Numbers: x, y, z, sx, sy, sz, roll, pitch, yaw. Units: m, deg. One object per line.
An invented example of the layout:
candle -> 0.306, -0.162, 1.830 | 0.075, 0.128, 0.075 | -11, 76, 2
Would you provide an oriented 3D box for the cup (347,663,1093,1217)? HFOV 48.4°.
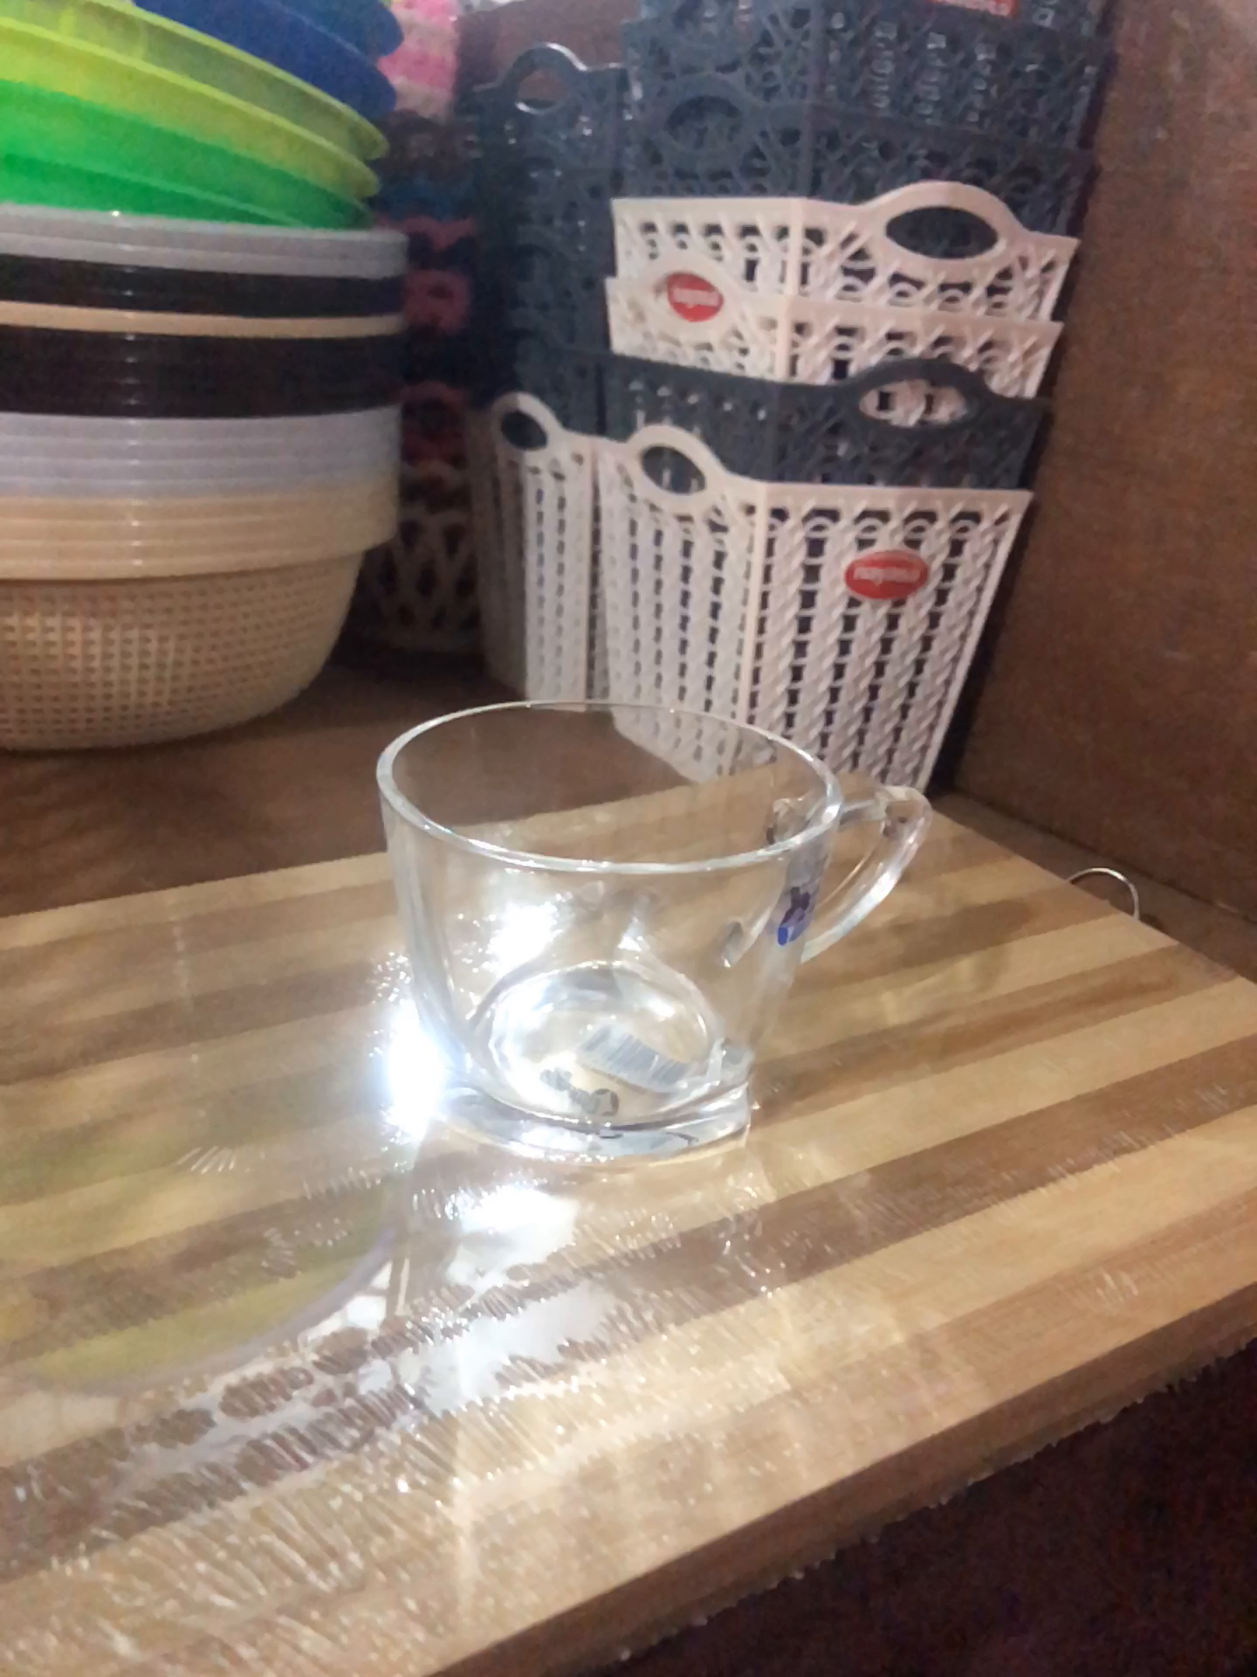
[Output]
cup -> 0.013, 0.011, 0.255 | 0.110, 0.060, 0.070 | -8, 26, -25
